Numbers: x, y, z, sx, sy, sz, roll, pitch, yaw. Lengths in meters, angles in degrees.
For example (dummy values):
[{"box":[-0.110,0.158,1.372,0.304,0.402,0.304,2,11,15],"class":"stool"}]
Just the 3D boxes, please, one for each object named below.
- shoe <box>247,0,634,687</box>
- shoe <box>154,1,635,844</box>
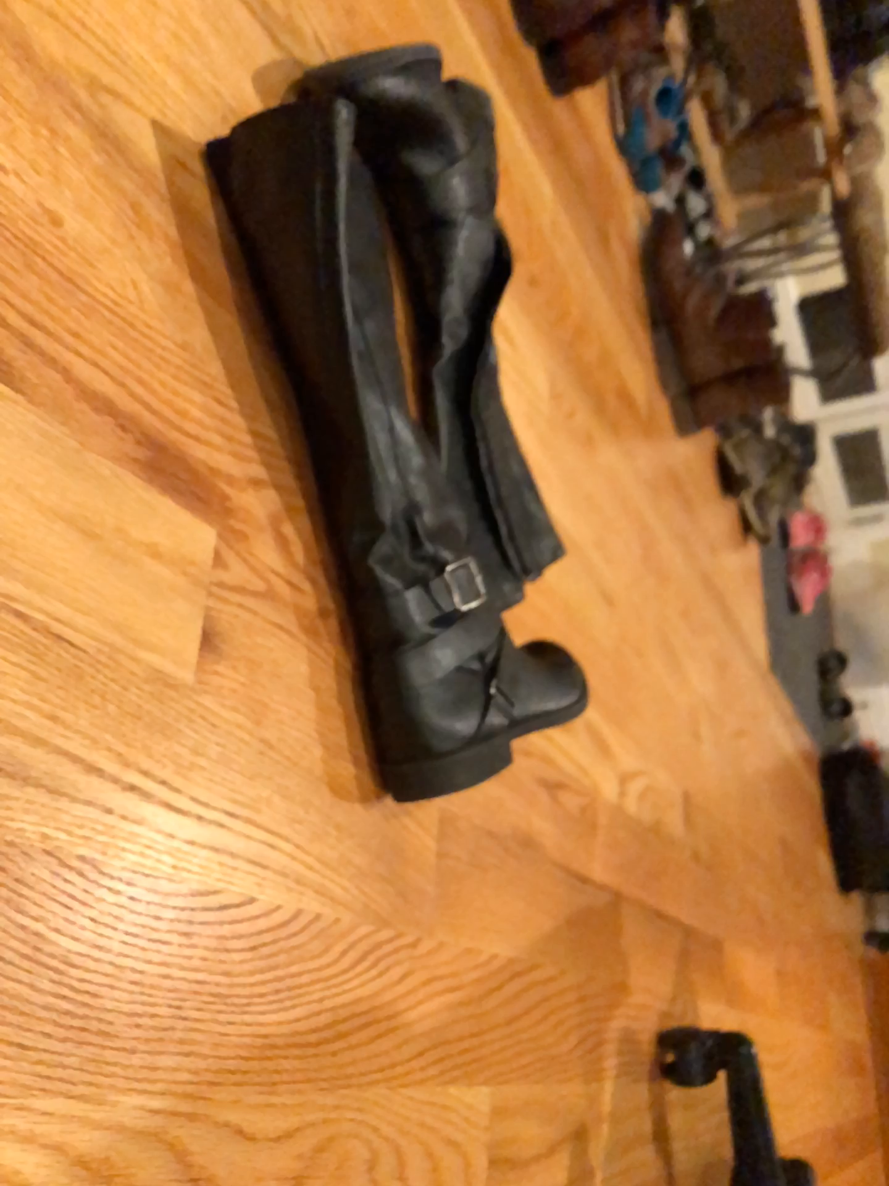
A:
[{"box":[0.018,-0.160,0.690,0.251,0.094,0.393,-19,98,-65],"class":"shoe"},{"box":[-0.001,-0.092,0.626,0.292,0.104,0.403,-22,102,-64],"class":"shoe"}]
